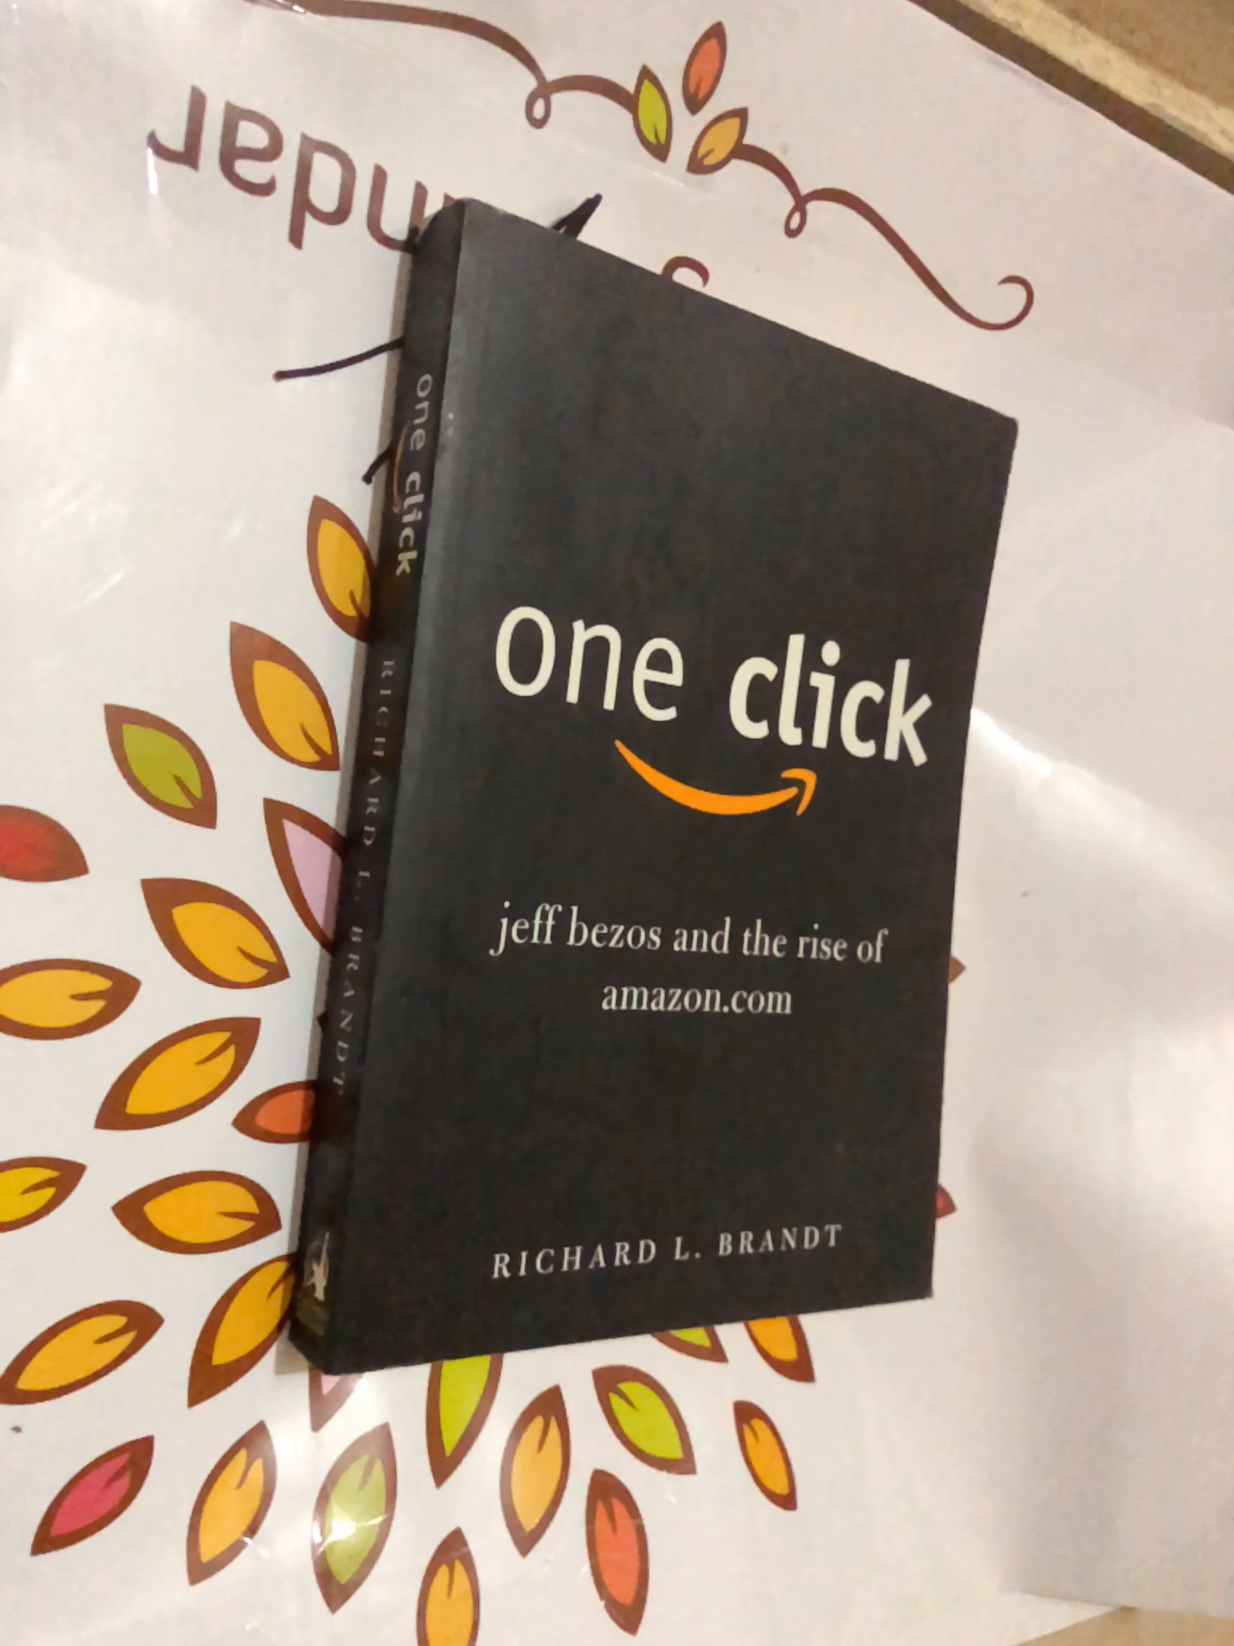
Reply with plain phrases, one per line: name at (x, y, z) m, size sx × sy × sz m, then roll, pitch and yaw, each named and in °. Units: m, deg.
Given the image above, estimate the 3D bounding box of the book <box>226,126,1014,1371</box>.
book at (0.013, -0.007, 0.292) m, size 0.161 × 0.020 × 0.220 m, roll 8°, pitch 85°, yaw -32°
